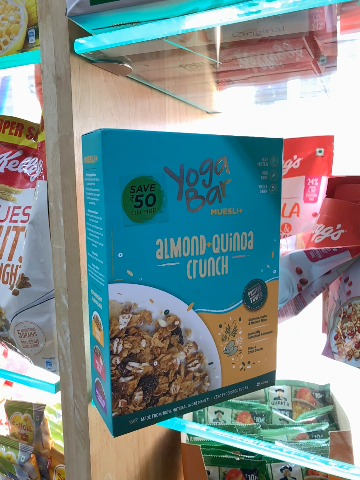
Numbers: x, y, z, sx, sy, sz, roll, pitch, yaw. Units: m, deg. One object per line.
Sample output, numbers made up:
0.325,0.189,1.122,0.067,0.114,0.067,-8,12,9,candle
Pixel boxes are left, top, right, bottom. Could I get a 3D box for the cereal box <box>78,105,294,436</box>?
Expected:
0.009,0.016,0.307,0.160,0.219,0.060,-5,9,-28,cereal box
